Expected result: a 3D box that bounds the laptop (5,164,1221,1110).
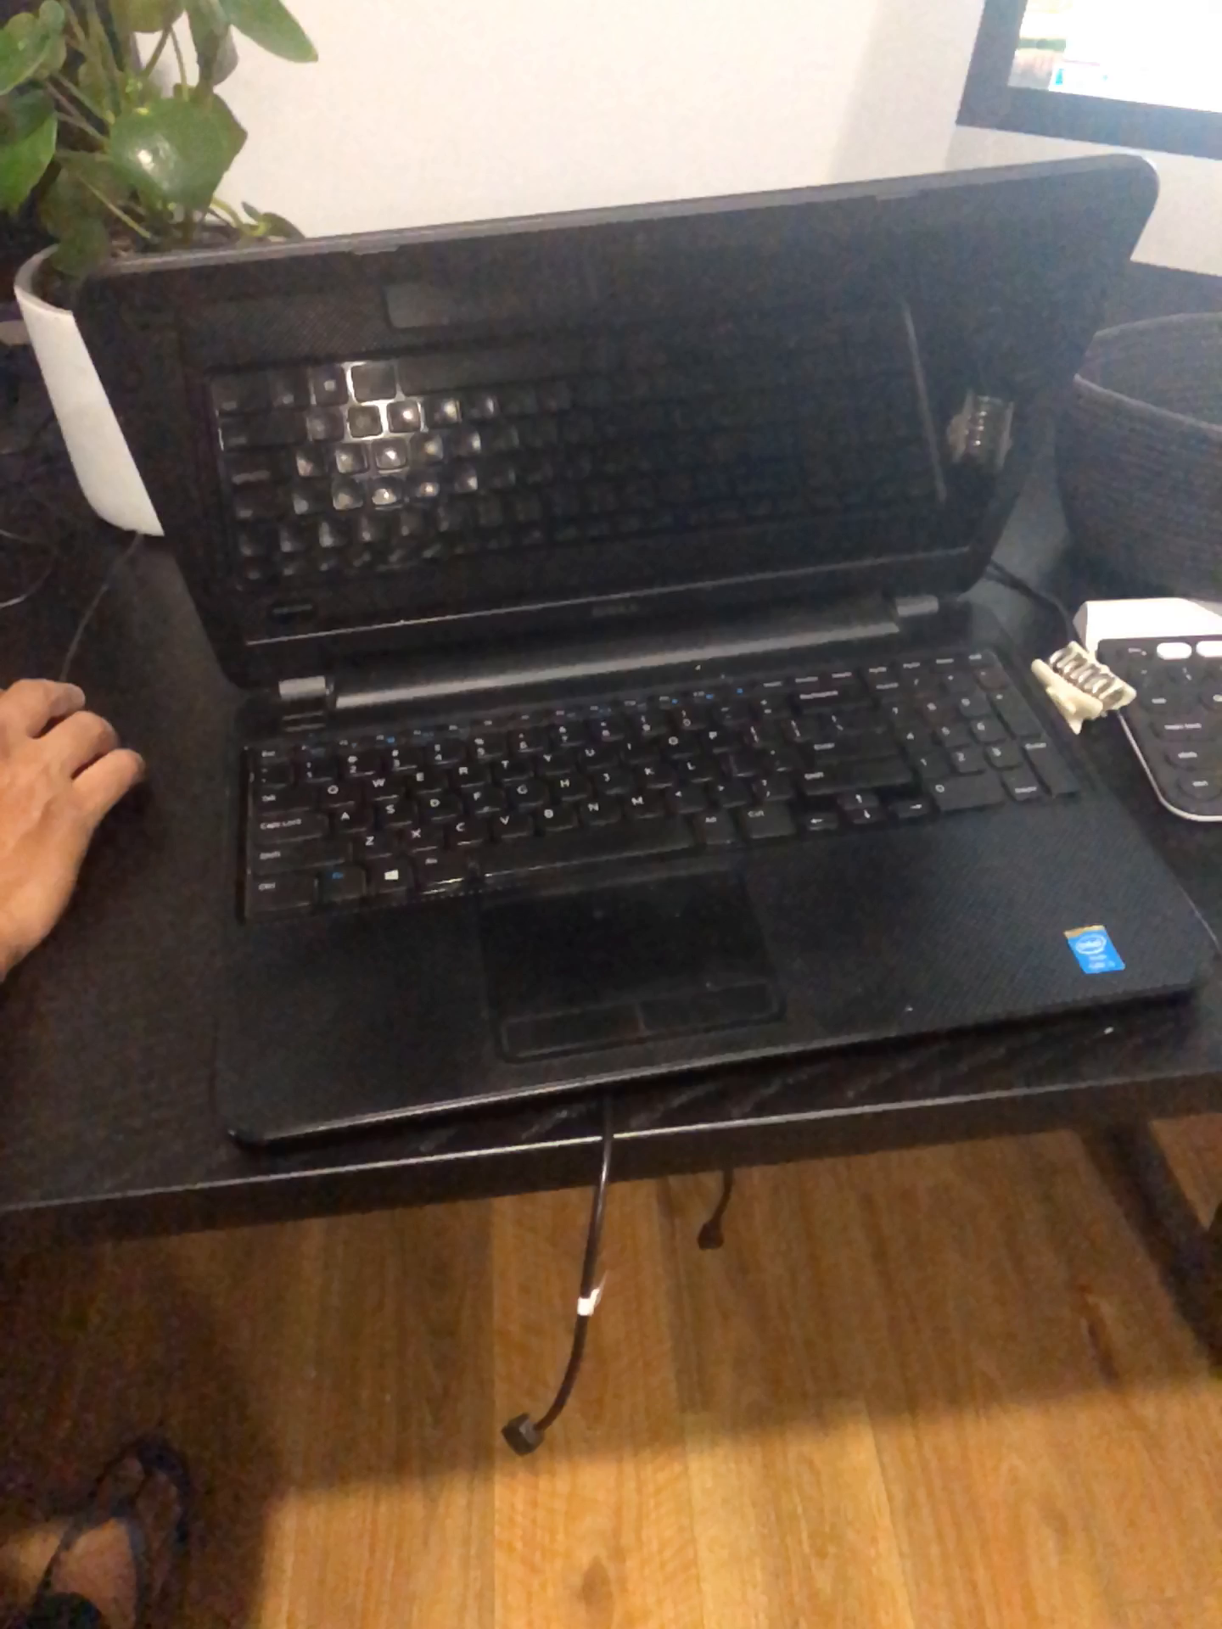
[{"bbox_3d":[0.016,-0.070,0.483,0.366,0.210,0.207,-7,43,-5],"label":"laptop"}]
